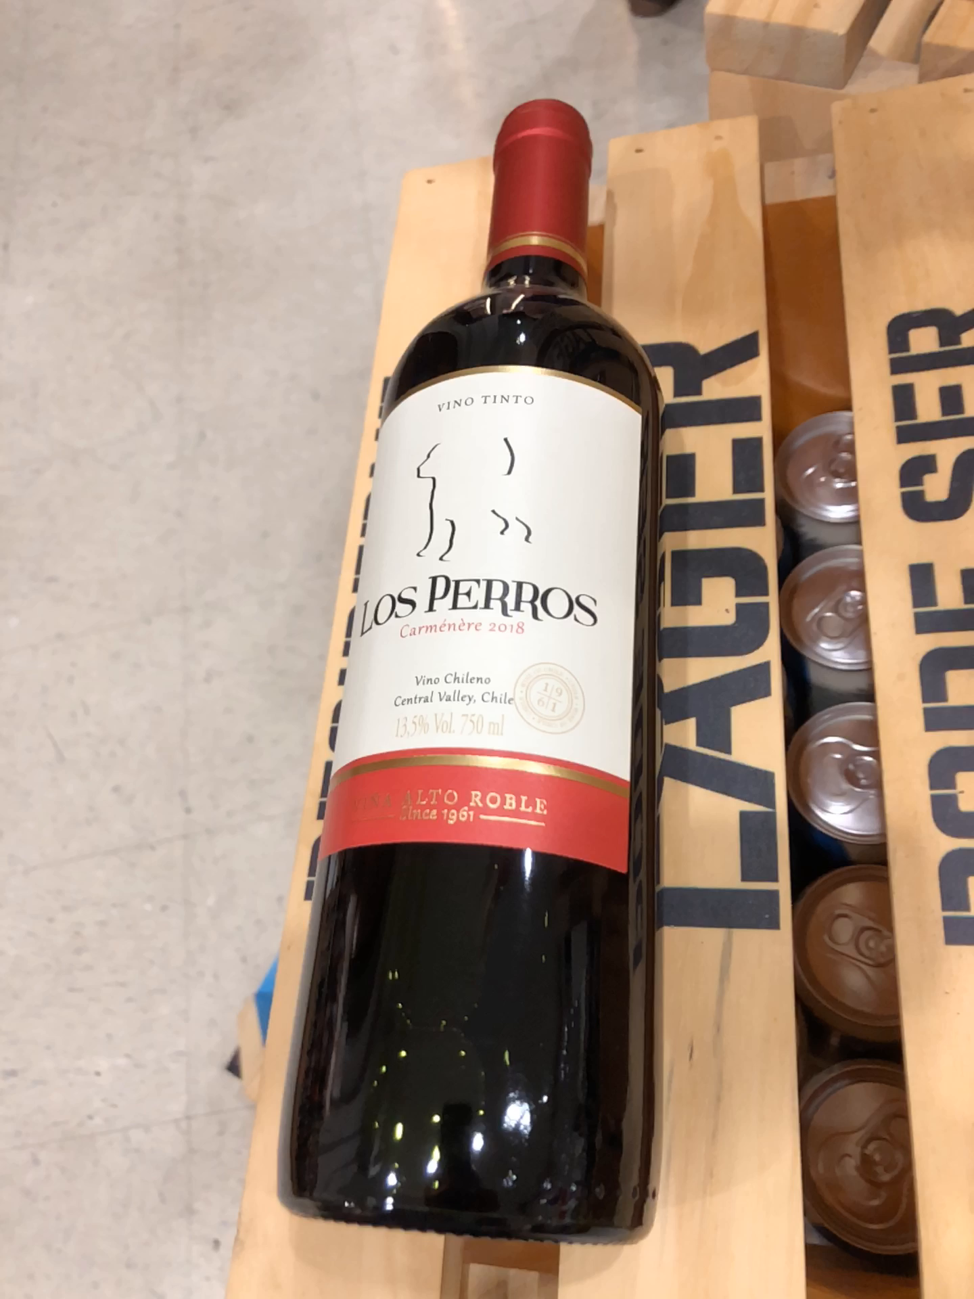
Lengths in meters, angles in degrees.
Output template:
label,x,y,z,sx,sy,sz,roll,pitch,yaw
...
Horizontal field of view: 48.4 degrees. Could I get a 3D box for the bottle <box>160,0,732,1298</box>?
label,x,y,z,sx,sy,sz,roll,pitch,yaw
bottle,0.009,-0.029,0.256,0.090,0.060,0.311,-1,66,14
